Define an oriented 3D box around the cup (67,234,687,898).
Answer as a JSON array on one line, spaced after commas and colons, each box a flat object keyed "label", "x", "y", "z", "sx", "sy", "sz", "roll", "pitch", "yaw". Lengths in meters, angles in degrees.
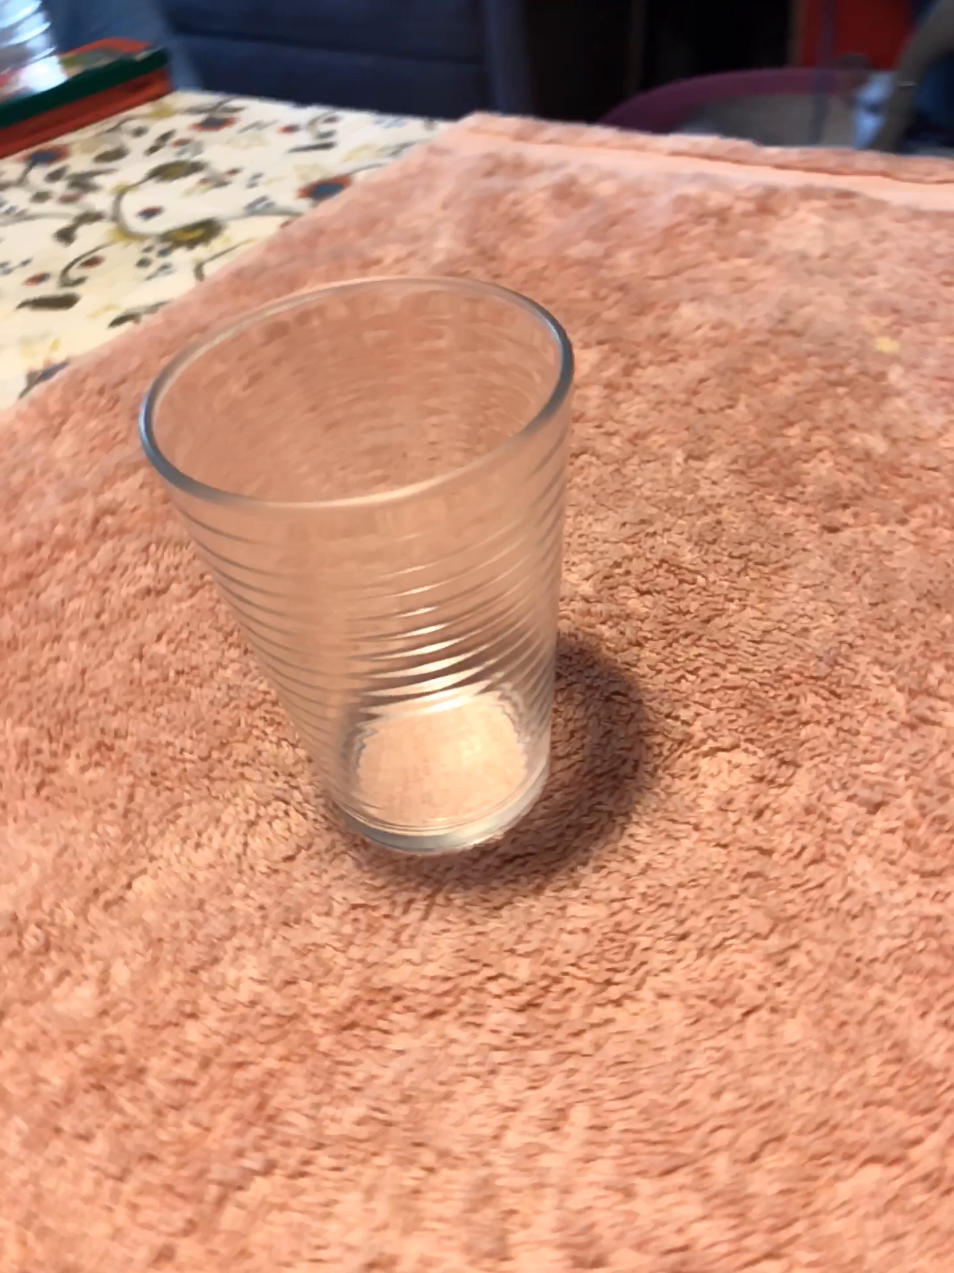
[{"label": "cup", "x": -0.010, "y": -0.017, "z": 0.215, "sx": 0.080, "sy": 0.089, "sz": 0.080, "roll": -4, "pitch": 43, "yaw": 4}]
